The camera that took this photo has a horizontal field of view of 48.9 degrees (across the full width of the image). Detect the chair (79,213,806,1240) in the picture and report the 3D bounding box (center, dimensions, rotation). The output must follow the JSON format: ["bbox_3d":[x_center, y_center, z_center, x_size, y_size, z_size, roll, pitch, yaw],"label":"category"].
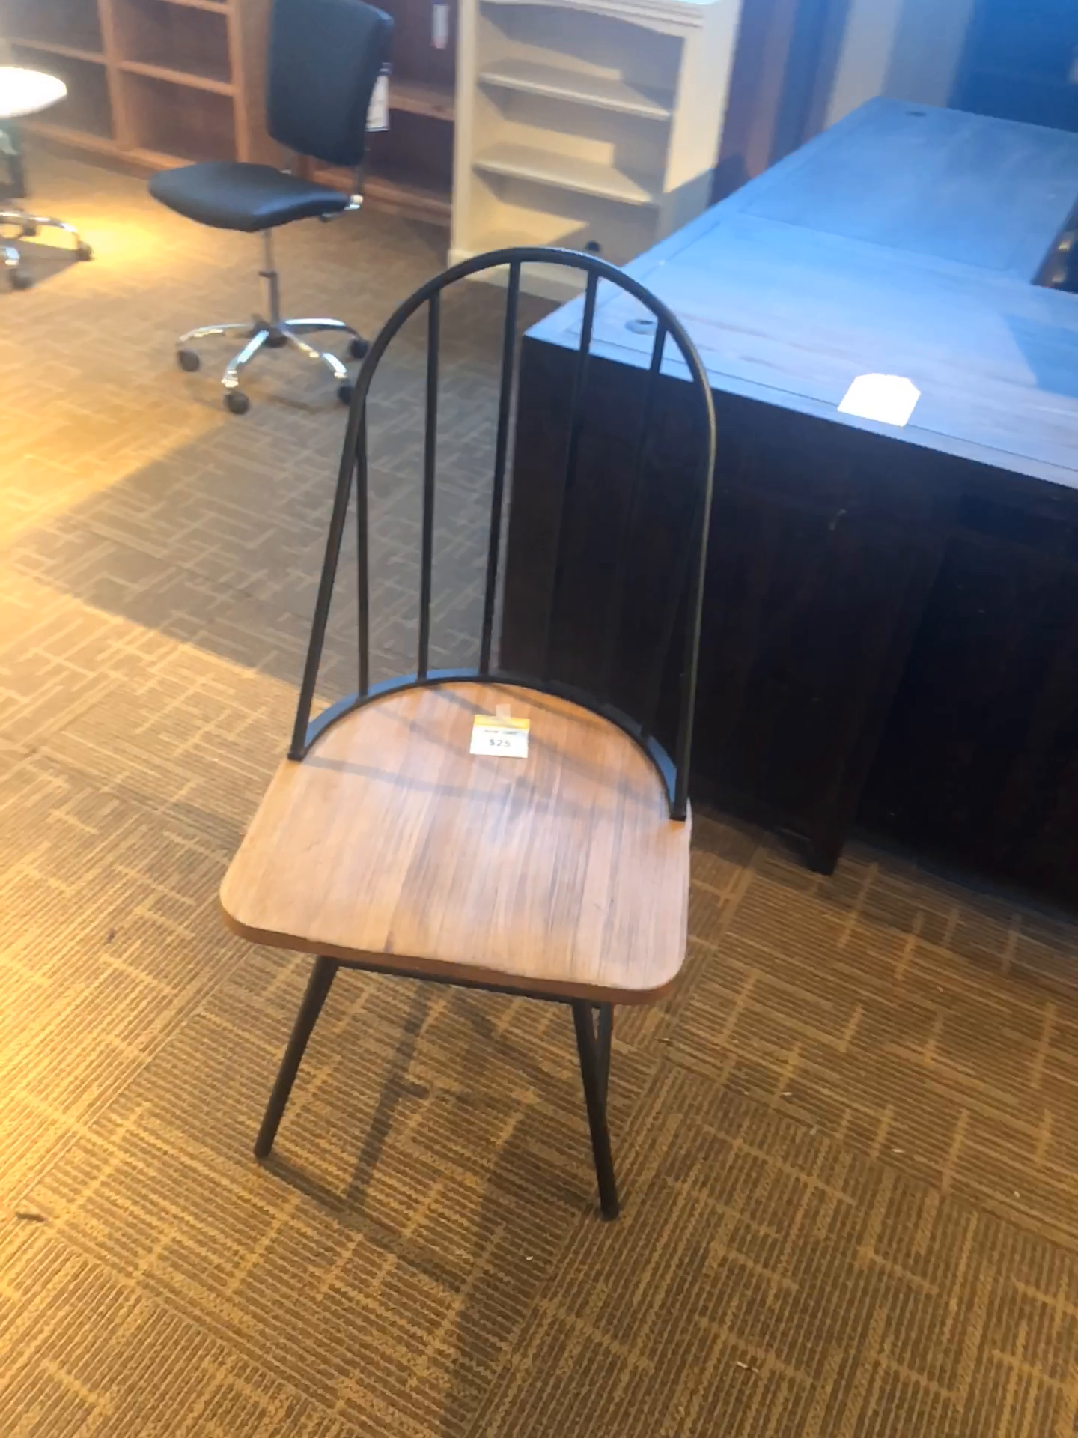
[{"bbox_3d":[-0.067,0.028,1.348,0.513,0.929,0.602,8,39,3],"label":"chair"}]
